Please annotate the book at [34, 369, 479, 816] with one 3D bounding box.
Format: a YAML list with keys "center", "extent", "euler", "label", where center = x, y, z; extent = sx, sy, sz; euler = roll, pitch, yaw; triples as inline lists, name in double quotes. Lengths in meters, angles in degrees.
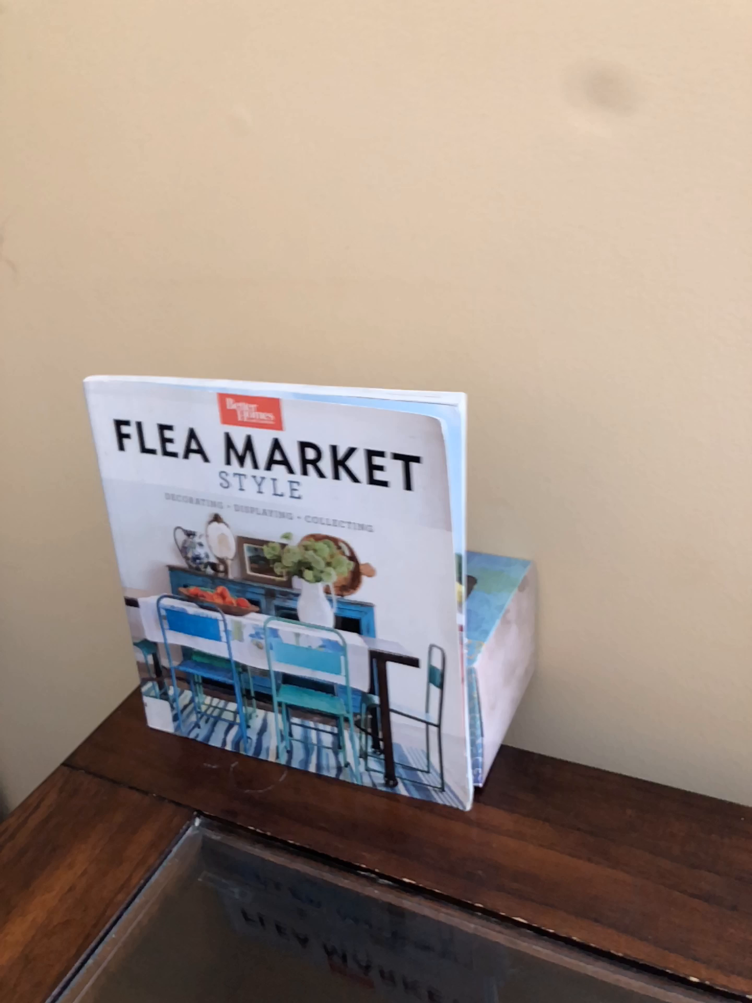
- center: [-0.063, 0.049, 0.475]
  extent: [0.233, 0.239, 0.032]
  euler: [6, 27, 23]
  label: "book"
